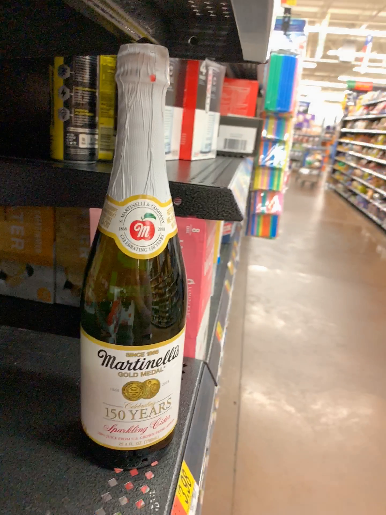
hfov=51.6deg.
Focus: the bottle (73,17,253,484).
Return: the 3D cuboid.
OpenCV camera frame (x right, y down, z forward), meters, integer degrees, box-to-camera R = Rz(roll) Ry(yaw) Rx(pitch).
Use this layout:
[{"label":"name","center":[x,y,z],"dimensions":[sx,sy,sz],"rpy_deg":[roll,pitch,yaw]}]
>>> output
[{"label":"bottle","center":[-0.038,0.009,0.295],"dimensions":[0.089,0.299,0.090],"rpy_deg":[6,18,-2]}]
